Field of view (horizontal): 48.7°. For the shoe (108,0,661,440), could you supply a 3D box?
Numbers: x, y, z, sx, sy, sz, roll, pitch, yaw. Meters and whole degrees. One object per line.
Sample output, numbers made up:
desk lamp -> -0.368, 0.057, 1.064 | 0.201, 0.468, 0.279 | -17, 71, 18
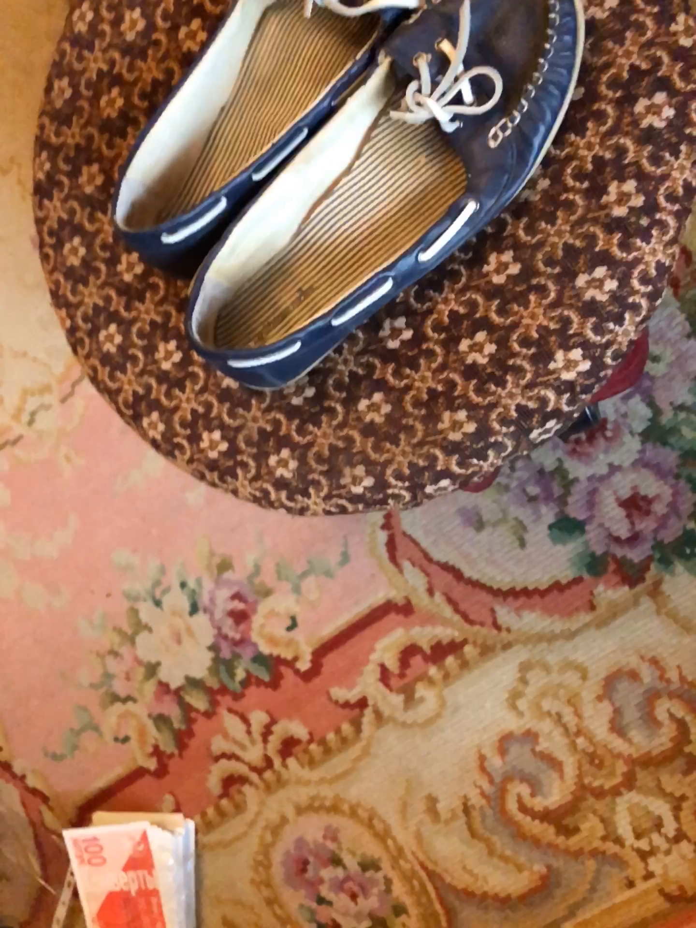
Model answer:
shoe -> 0.014, -0.135, 0.369 | 0.090, 0.100, 0.250 | 47, 109, 7

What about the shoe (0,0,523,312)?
shoe -> -0.041, -0.207, 0.372 | 0.090, 0.090, 0.250 | 45, 103, 14
